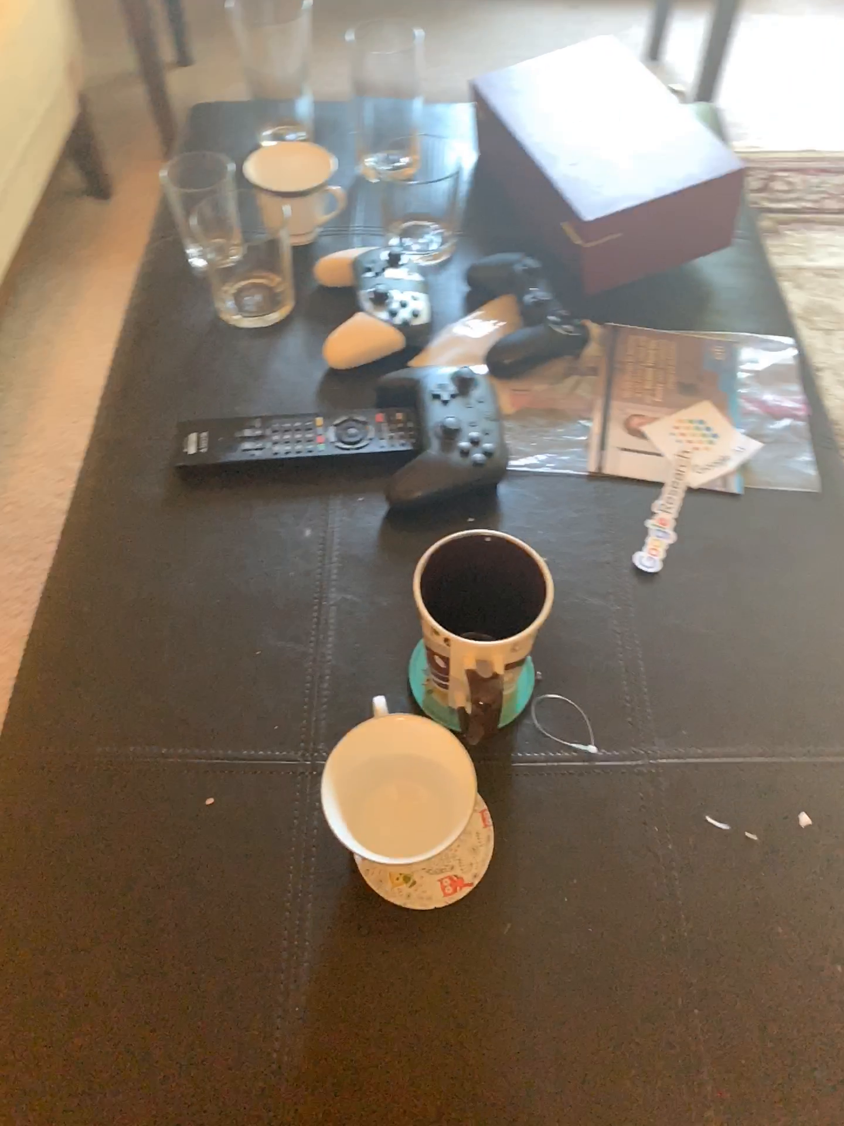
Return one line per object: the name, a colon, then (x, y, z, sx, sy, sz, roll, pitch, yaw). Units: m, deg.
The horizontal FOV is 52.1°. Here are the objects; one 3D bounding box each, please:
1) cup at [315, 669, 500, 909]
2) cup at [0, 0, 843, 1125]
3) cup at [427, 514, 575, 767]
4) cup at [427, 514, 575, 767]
cup: (-0.012, 0.134, 0.518, 0.090, 0.070, 0.110, -7, 56, -6)
cup: (0.048, 0.052, 0.559, 0.297, 9.460, 39.413, 3, 55, 1)
cup: (0.048, 0.052, 0.559, 0.080, 0.110, 0.120, 3, 55, 1)
cup: (0.048, 0.052, 0.559, 0.080, 0.110, 0.120, 3, 55, 1)
